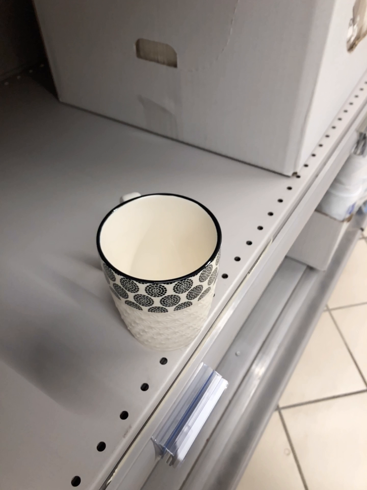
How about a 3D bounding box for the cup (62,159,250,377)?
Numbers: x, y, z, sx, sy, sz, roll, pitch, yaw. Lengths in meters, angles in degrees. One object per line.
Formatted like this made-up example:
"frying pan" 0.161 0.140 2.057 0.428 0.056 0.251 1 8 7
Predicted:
"cup" -0.022 0.015 0.312 0.088 0.095 0.106 -23 52 -19
